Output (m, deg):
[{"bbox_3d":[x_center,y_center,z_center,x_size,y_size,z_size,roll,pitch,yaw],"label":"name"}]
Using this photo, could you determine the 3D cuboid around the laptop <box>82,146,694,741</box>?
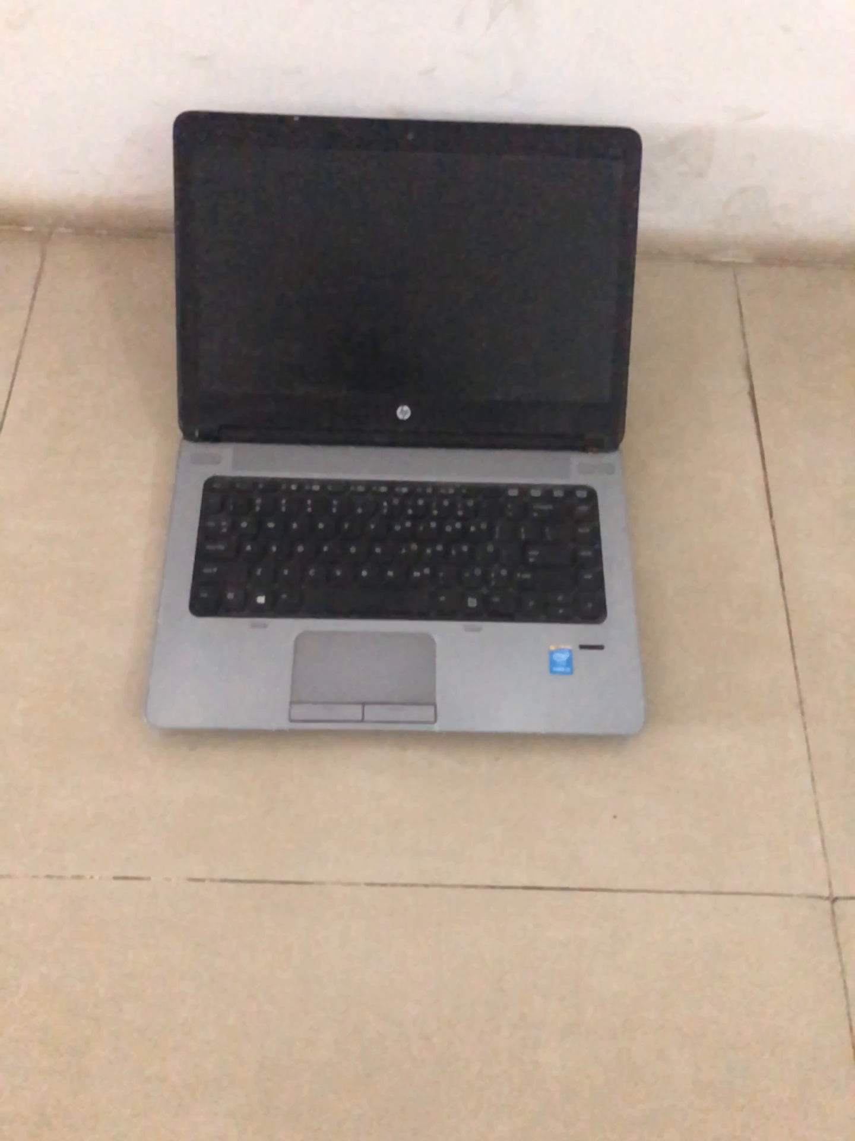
[{"bbox_3d":[-0.020,-0.093,0.647,0.318,0.146,0.386,2,62,-2],"label":"laptop"}]
